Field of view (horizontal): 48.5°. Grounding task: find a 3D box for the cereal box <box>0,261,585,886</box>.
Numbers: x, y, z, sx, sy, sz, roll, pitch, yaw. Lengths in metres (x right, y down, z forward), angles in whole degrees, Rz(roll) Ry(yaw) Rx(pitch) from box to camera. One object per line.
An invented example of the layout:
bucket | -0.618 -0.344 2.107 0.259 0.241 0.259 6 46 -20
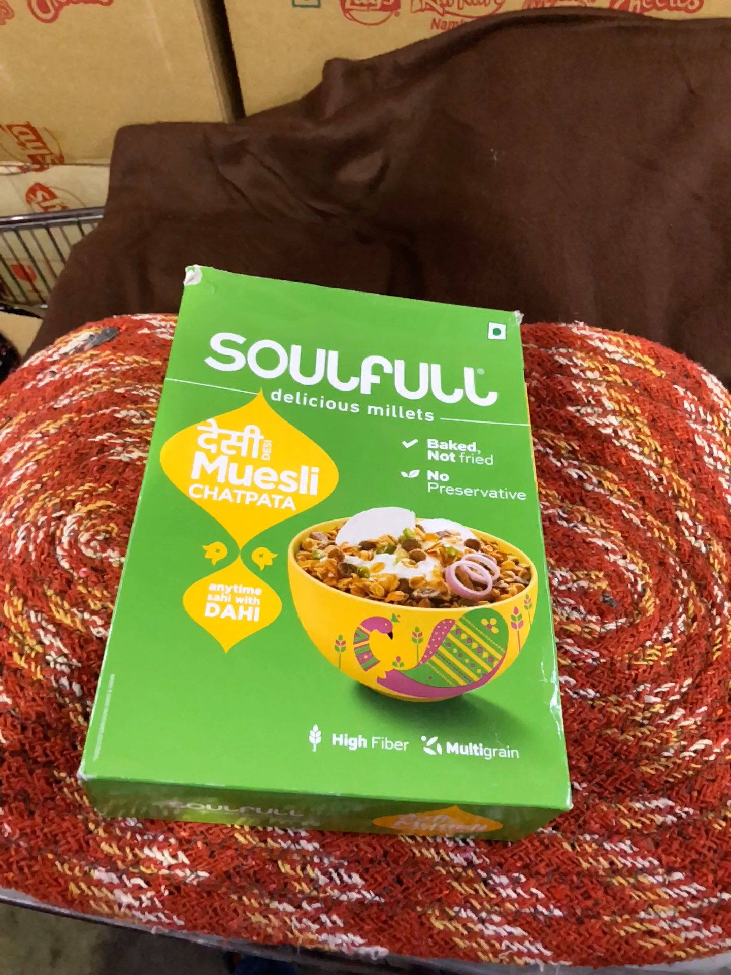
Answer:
cereal box | -0.018 0.019 0.331 0.170 0.060 0.241 6 53 -5
